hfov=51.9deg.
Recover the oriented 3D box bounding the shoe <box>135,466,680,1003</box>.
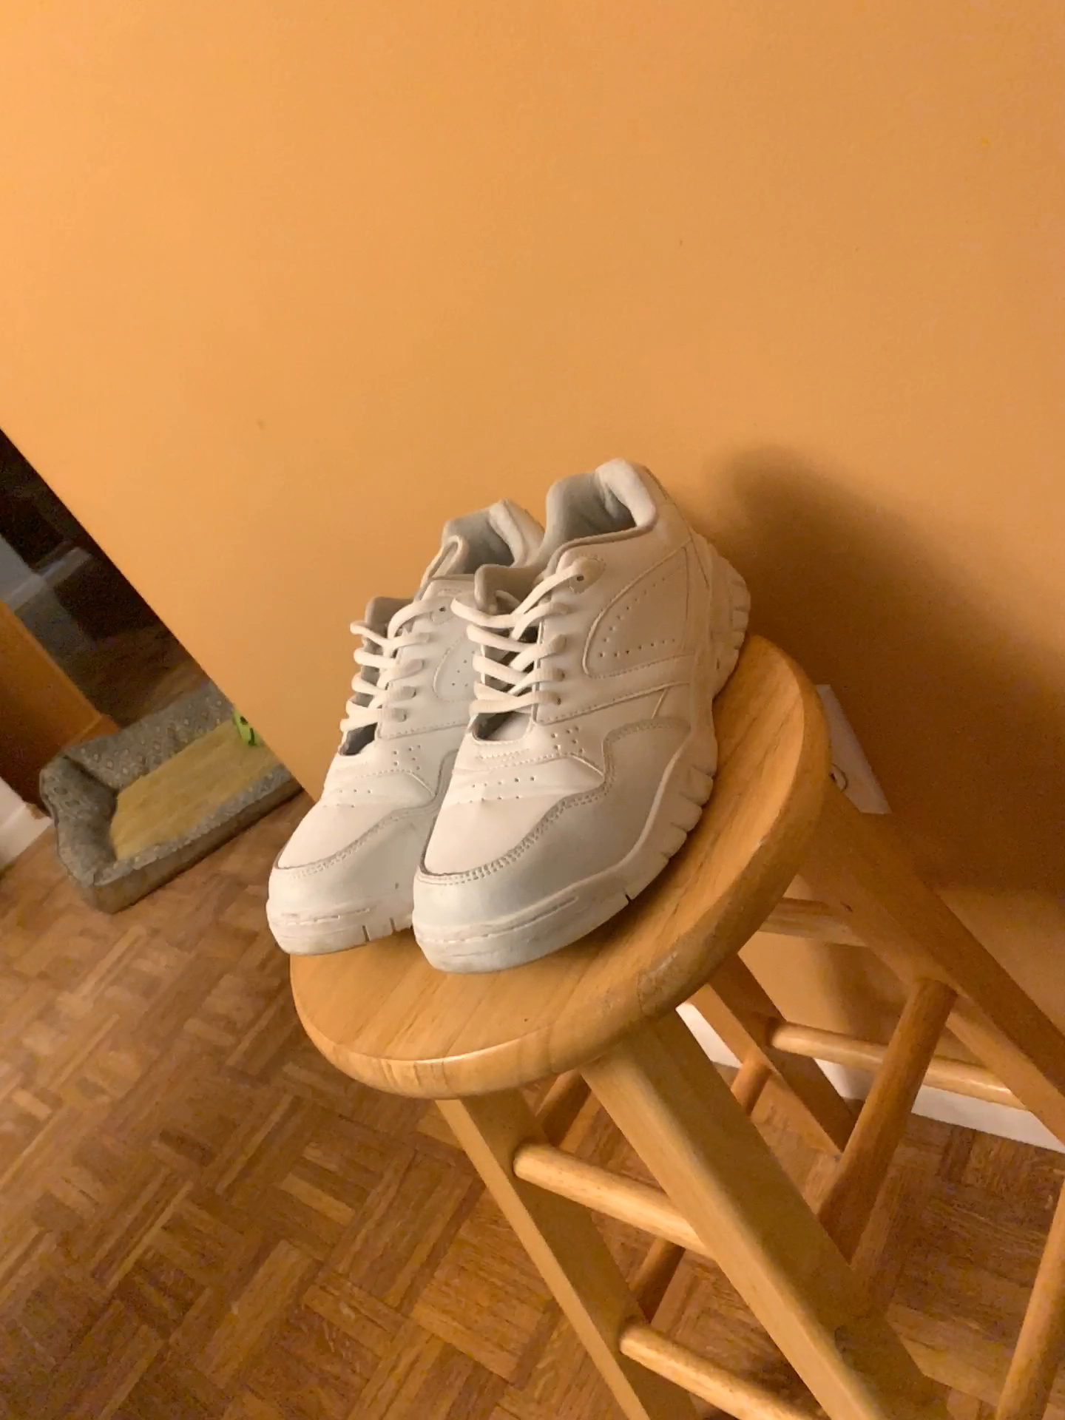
[{"bbox_3d":[-0.052,0.004,0.581,0.131,0.109,0.270,-7,37,43],"label":"shoe"}]

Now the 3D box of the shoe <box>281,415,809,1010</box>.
[{"bbox_3d":[0.025,-0.007,0.510,0.120,0.109,0.271,-13,33,37],"label":"shoe"}]
